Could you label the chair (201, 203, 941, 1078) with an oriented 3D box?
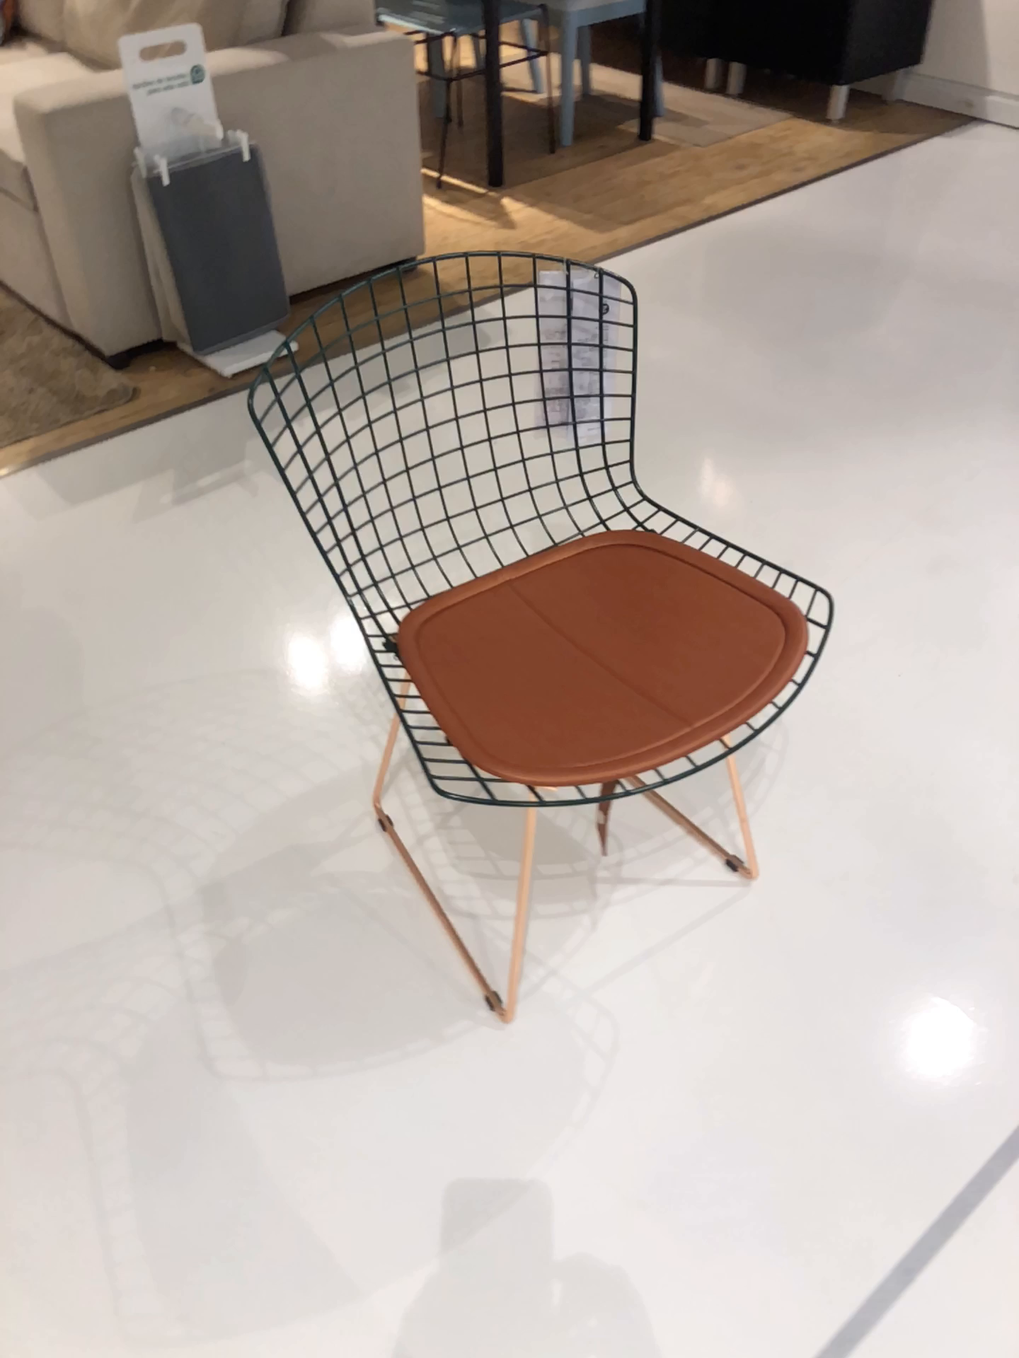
[{"bbox_3d":[0.043,-0.052,1.277,0.491,0.724,0.503,-23,45,-23],"label":"chair"}]
